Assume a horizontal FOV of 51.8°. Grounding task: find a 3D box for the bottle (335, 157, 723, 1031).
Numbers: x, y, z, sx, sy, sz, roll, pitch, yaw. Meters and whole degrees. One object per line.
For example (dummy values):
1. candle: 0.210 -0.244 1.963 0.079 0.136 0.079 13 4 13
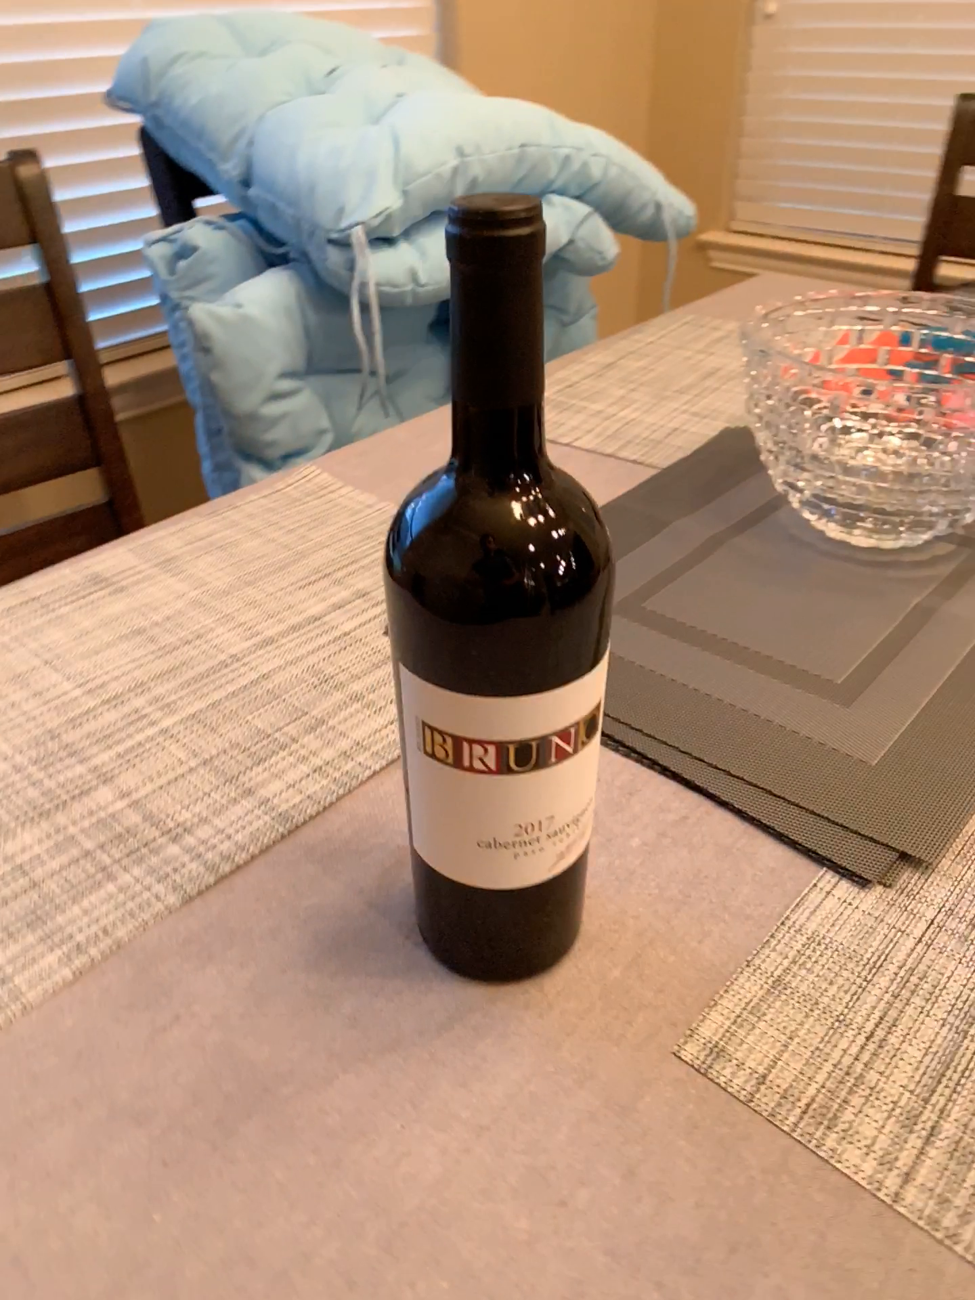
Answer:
1. bottle: 0.008 -0.005 0.362 0.083 0.298 0.090 0 33 0
